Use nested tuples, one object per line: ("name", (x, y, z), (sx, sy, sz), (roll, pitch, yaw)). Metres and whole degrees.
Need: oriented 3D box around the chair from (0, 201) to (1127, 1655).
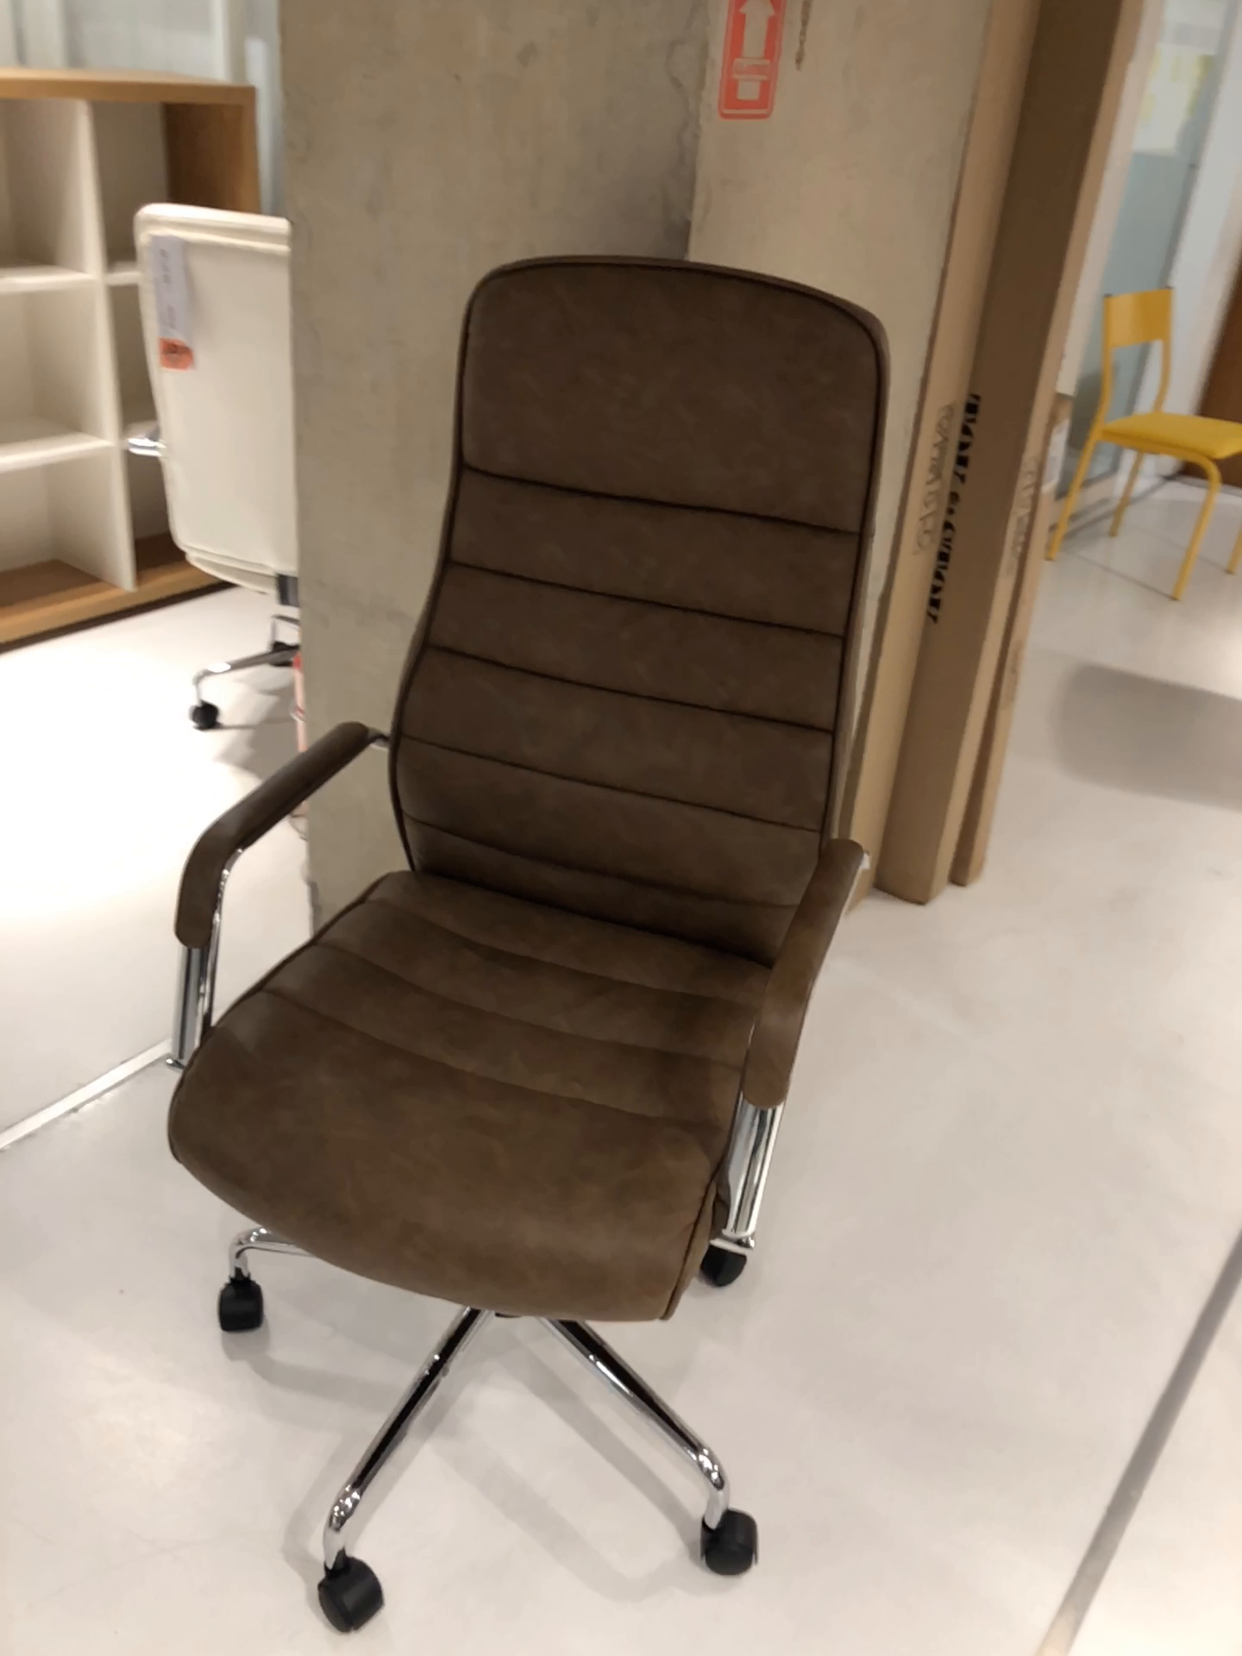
("chair", (-0.051, 0.055, 1.151), (0.641, 0.962, 0.634), (15, 31, 17))
